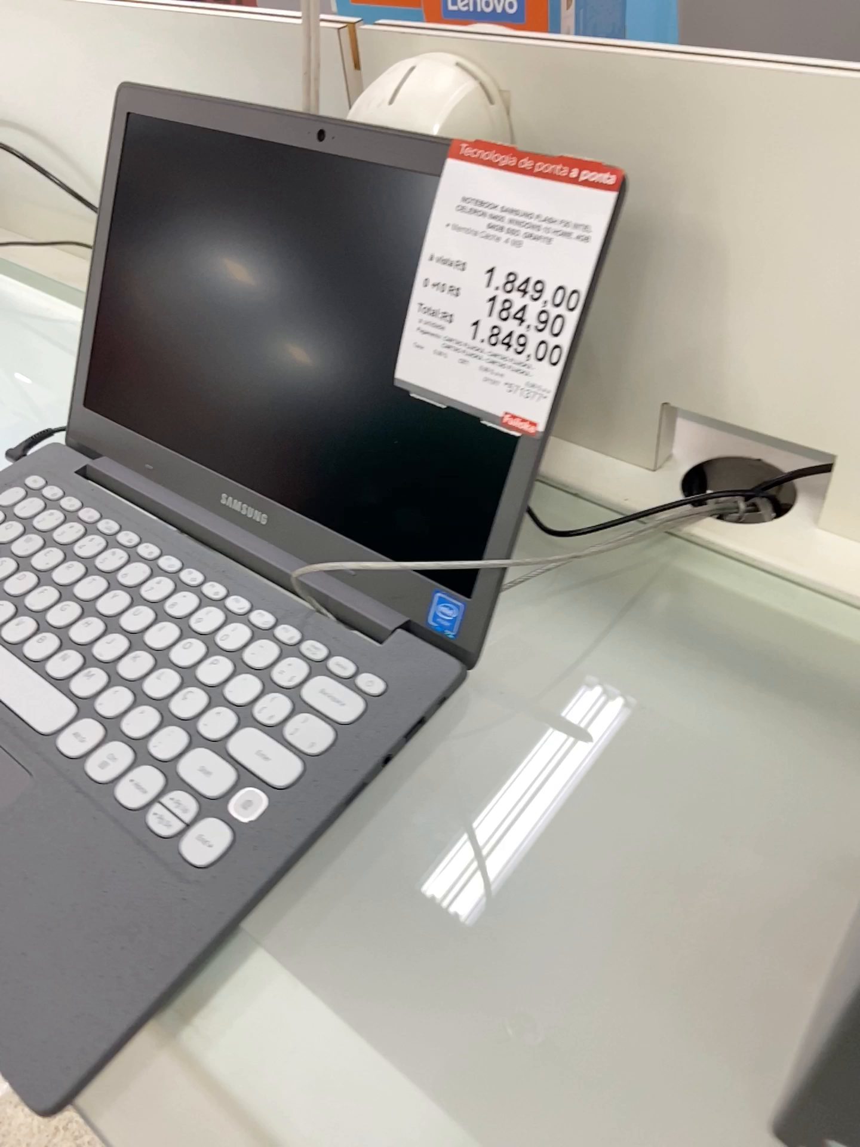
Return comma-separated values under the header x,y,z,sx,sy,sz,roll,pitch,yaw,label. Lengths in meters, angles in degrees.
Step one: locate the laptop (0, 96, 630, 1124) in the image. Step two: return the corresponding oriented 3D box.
x,y,z,sx,sy,sz,roll,pitch,yaw,label
-0.148,-0.051,0.389,0.325,0.172,0.341,26,53,32,laptop
